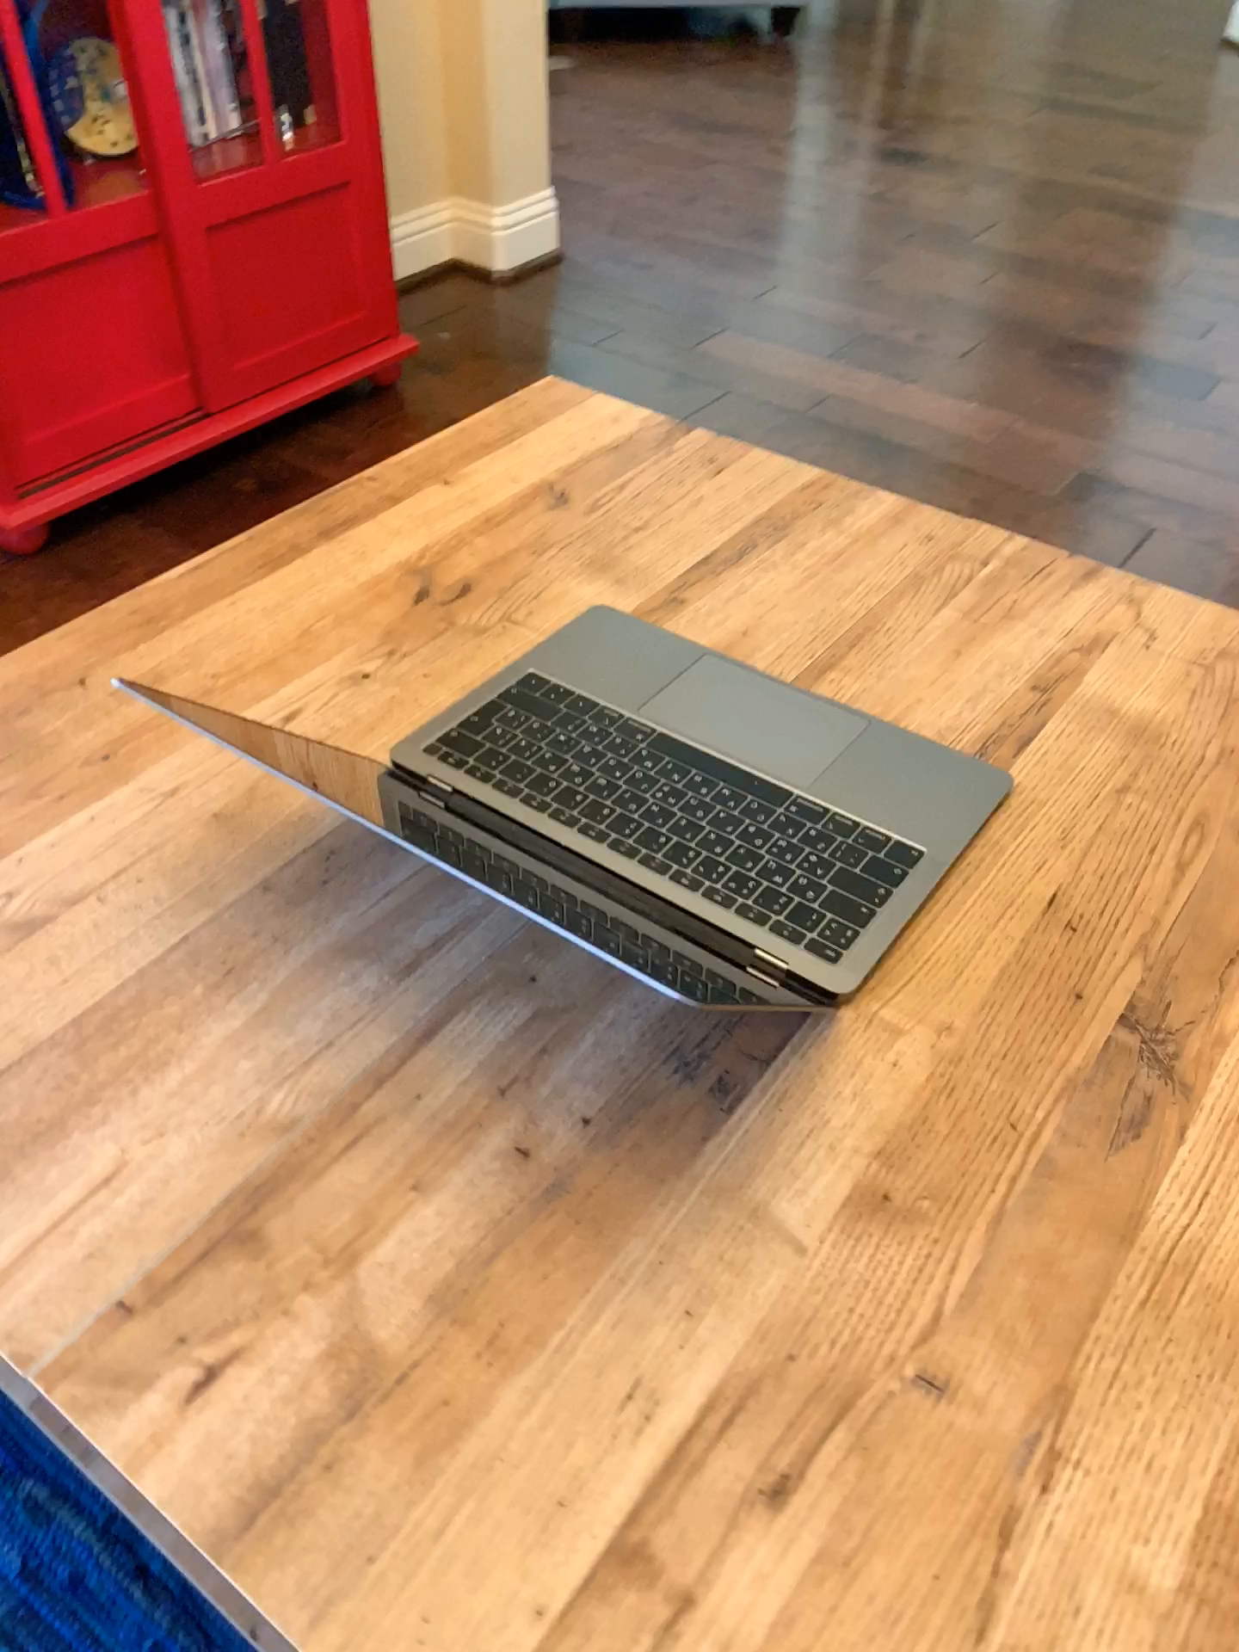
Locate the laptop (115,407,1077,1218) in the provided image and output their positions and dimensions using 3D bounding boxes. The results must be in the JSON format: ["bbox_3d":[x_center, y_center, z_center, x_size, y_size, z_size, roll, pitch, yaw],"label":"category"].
[{"bbox_3d":[0.005,-0.045,0.639,0.291,0.141,0.354,27,48,25],"label":"laptop"}]
